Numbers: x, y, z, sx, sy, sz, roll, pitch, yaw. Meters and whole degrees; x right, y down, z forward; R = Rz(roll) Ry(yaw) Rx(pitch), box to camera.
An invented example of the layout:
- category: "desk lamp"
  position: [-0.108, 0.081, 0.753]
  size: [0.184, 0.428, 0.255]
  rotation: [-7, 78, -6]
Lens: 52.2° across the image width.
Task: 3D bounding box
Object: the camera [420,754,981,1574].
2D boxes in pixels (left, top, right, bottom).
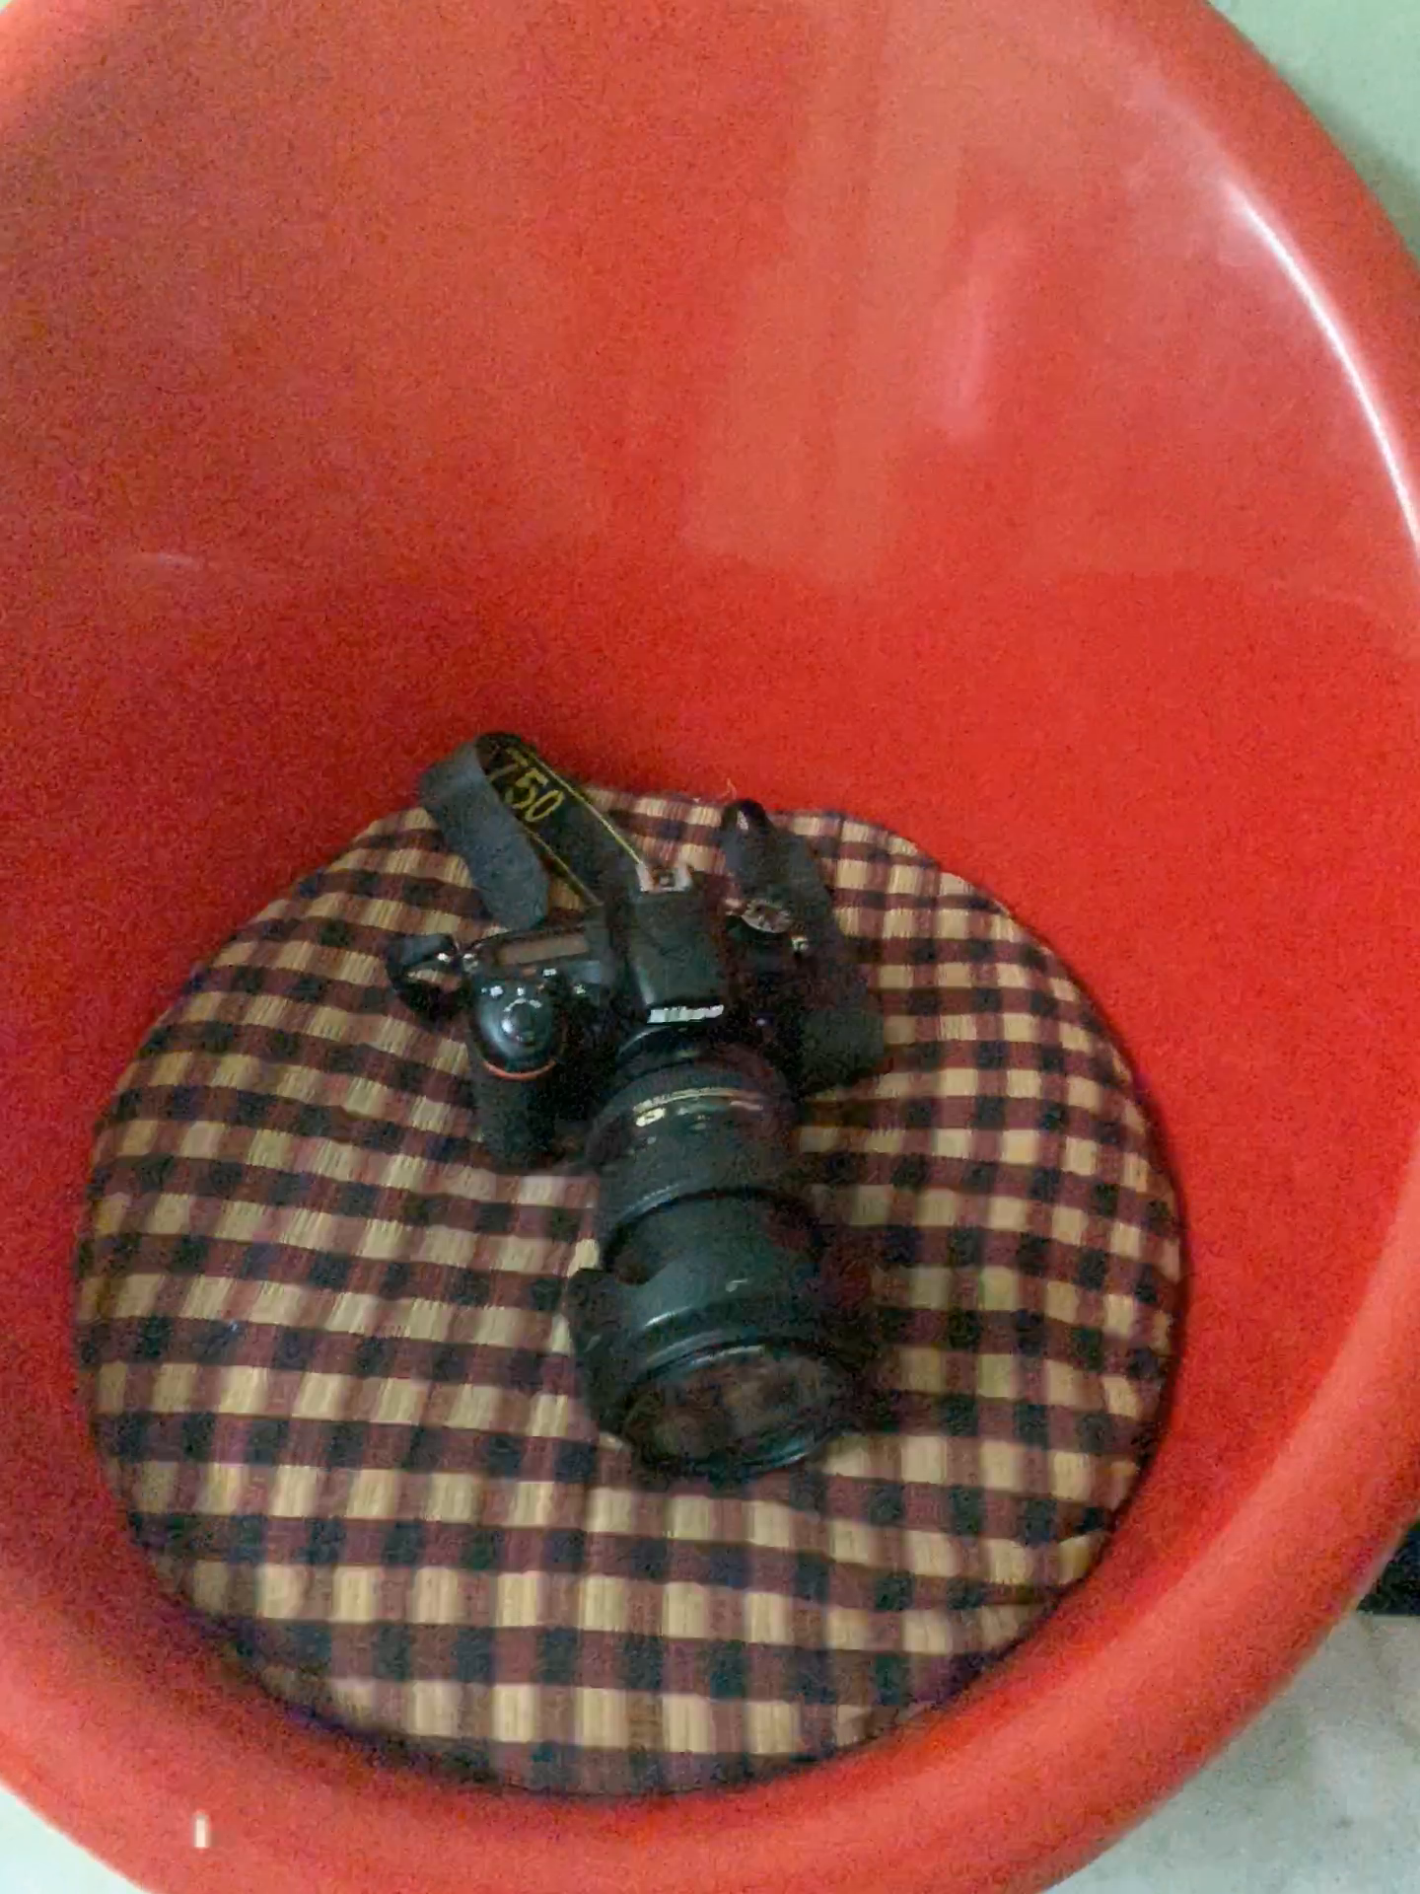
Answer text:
- category: "camera"
  position: [-0.021, 0.082, 0.583]
  size: [0.160, 0.179, 0.253]
  rotation: [-6, 51, -8]
